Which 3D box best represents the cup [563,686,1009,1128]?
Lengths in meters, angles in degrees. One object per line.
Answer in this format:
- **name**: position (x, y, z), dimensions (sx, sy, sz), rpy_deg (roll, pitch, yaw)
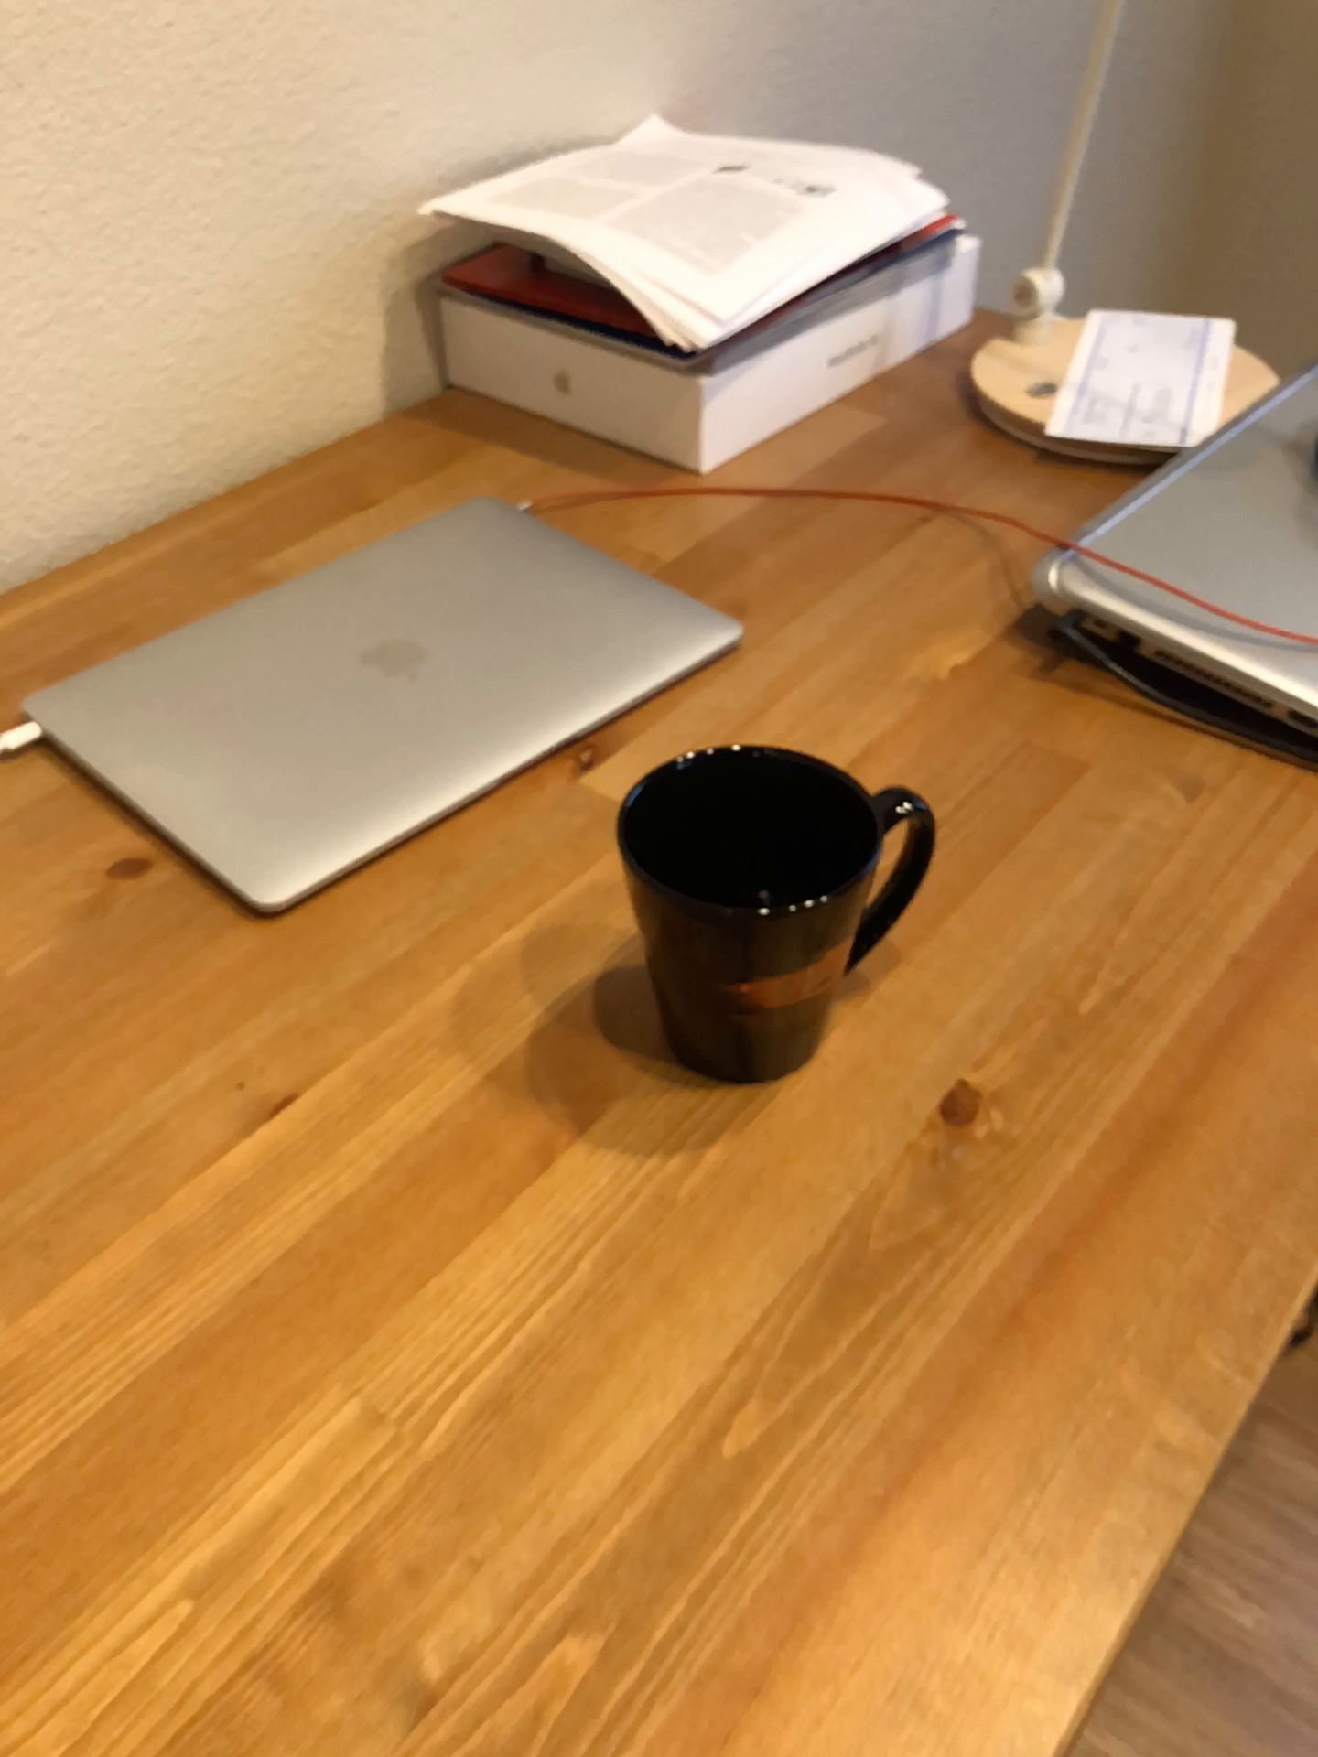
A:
- **cup**: position (0.041, 0.007, 0.520), dimensions (0.120, 0.090, 0.090), rpy_deg (-18, 43, -18)
